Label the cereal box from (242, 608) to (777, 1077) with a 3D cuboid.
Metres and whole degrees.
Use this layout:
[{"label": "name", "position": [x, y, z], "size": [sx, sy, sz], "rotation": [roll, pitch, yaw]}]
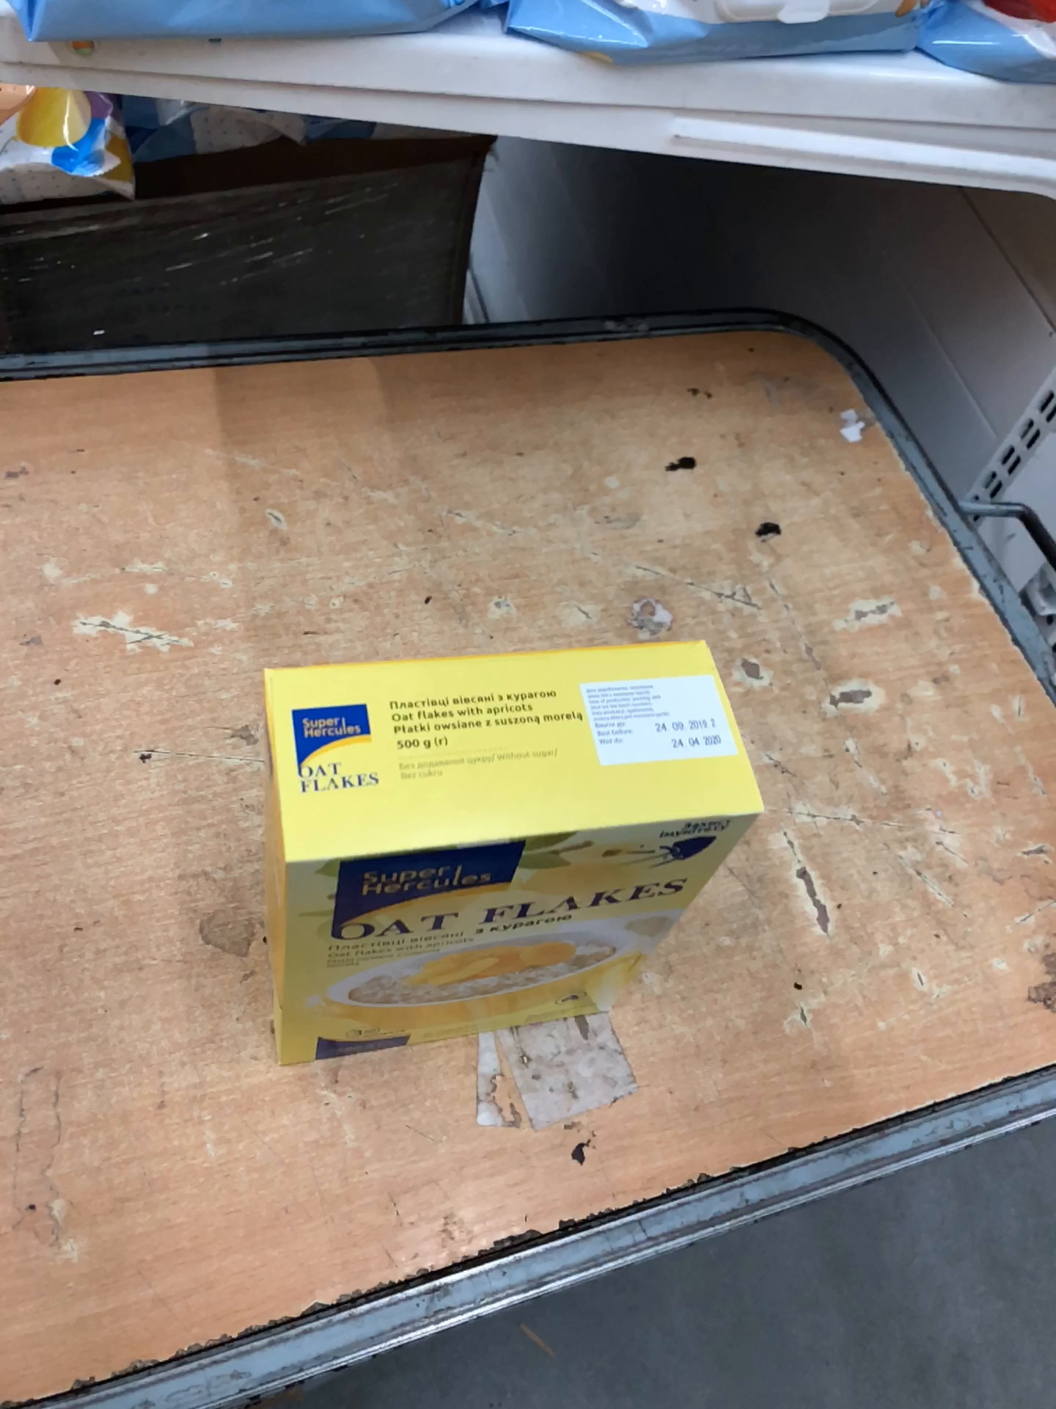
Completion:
[{"label": "cereal box", "position": [-0.023, 0.060, 0.432], "size": [0.150, 0.199, 0.080], "rotation": [-5, 59, -14]}]
